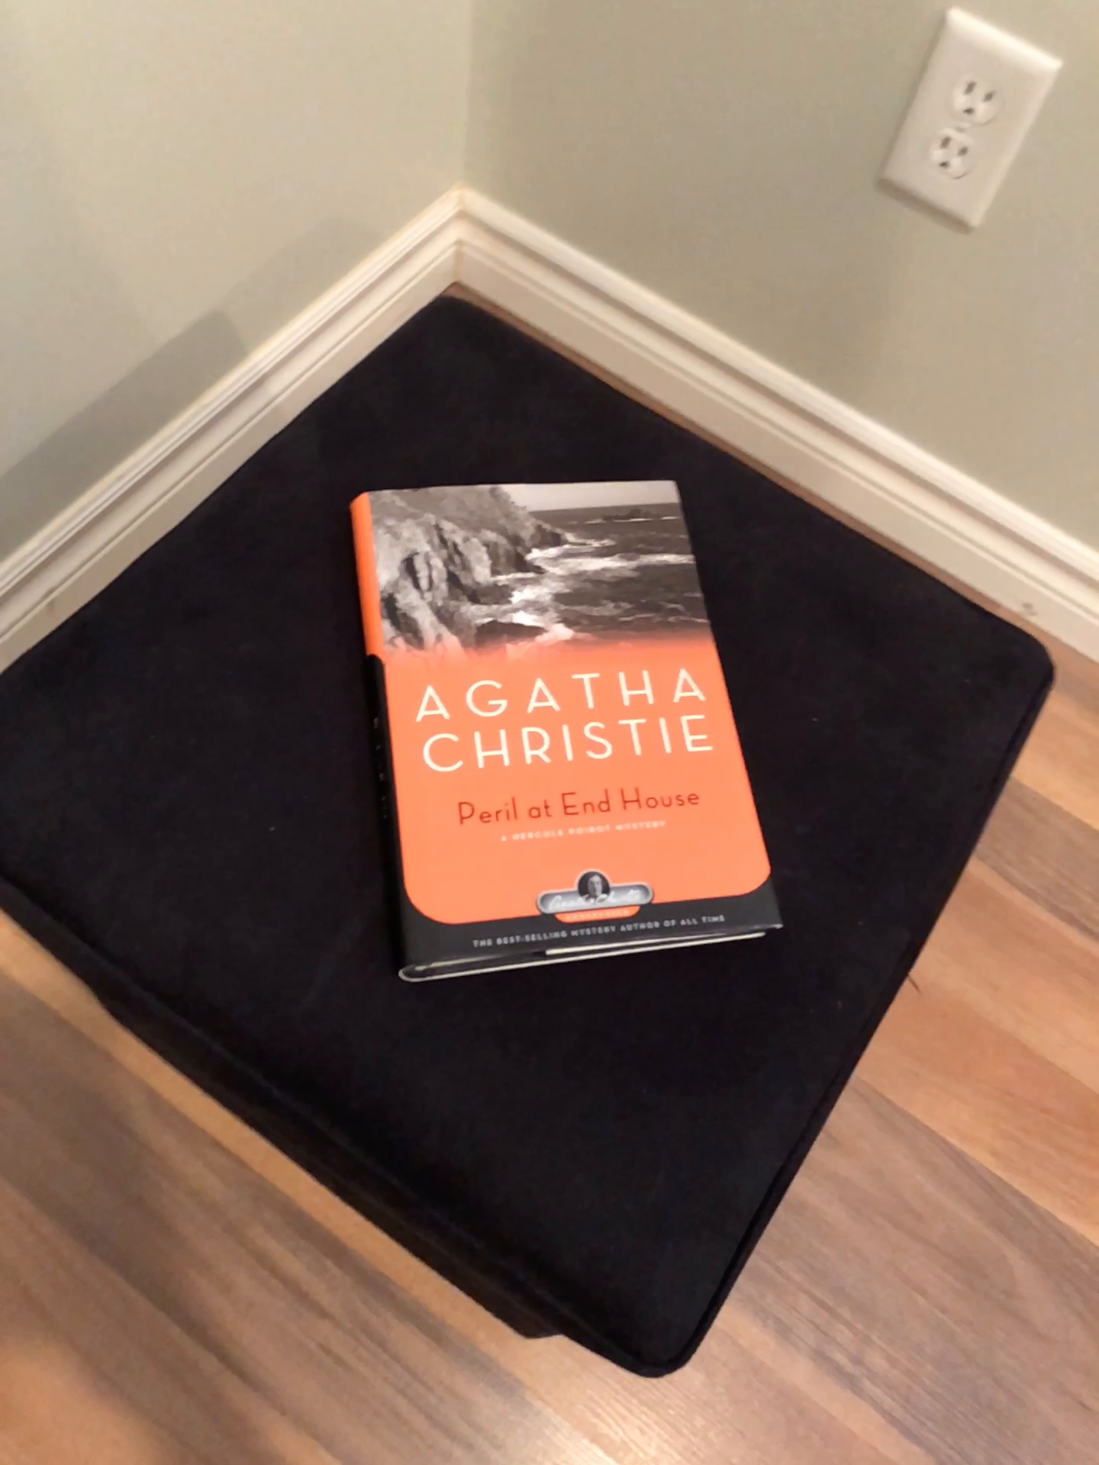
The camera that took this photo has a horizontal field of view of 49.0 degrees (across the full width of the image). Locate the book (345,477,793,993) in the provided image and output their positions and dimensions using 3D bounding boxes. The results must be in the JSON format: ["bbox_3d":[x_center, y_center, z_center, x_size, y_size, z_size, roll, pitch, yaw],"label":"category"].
[{"bbox_3d":[0.000,-0.009,0.491,0.146,0.030,0.206,-5,64,-11],"label":"book"}]
